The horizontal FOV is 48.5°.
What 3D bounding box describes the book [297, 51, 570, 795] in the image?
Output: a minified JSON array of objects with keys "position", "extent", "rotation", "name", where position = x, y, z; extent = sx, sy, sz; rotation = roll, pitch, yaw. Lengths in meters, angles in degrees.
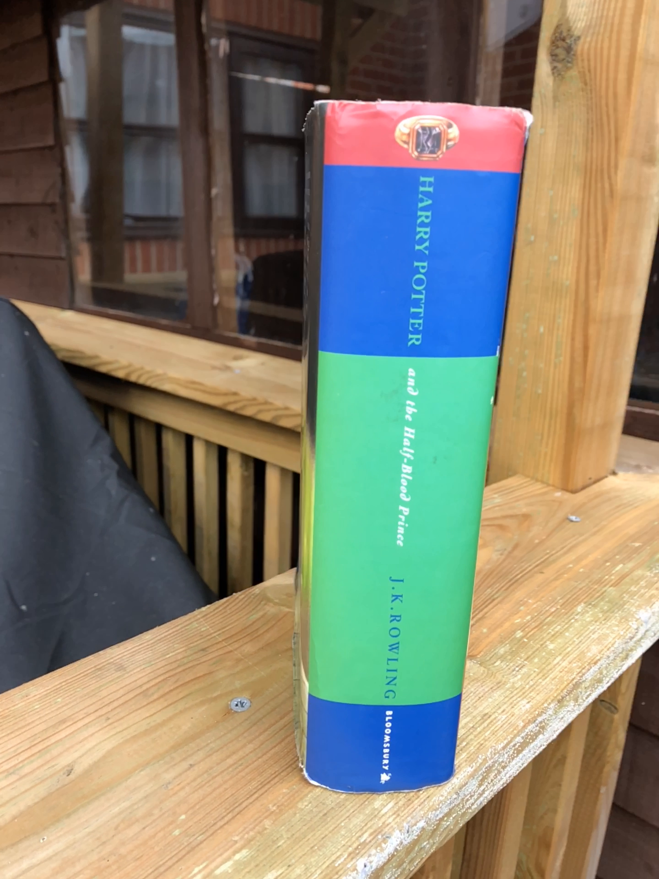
[{"position":[0.021,-0.010,0.268],"extent":[0.060,0.209,0.141],"rotation":[0,16,-4],"name":"book"}]
